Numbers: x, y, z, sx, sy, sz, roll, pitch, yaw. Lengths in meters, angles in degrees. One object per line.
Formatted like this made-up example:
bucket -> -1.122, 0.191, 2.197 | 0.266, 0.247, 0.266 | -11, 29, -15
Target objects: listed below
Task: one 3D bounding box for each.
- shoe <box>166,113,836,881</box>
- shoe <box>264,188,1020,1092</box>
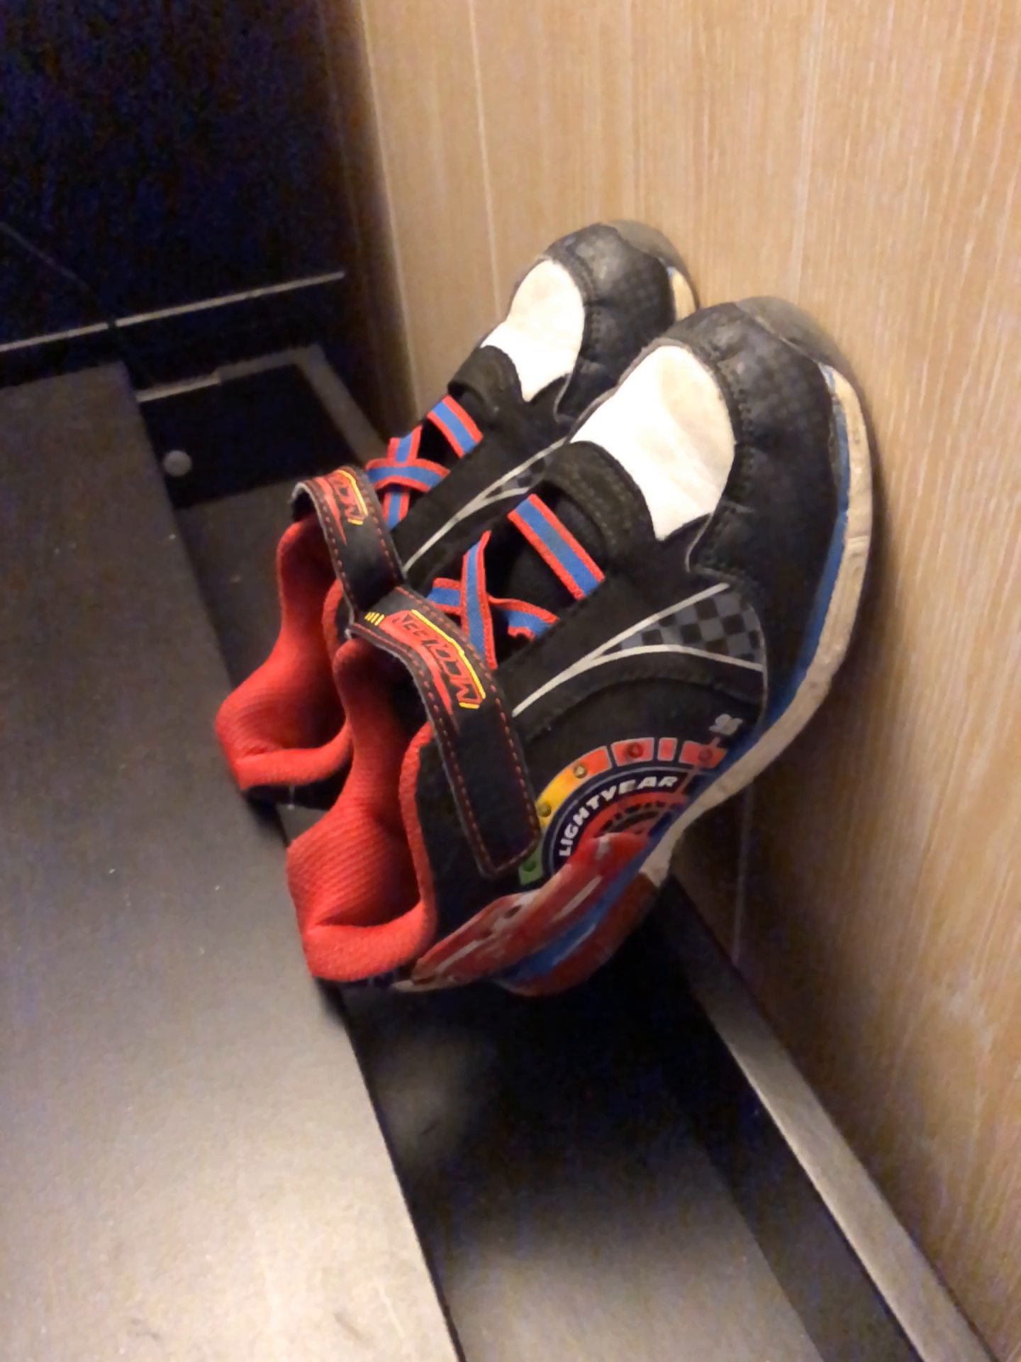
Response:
shoe -> -0.015, -0.049, 0.340 | 0.070, 0.199, 0.091 | 23, 22, -39
shoe -> 0.025, -0.001, 0.292 | 0.070, 0.209, 0.091 | 19, 26, -36
